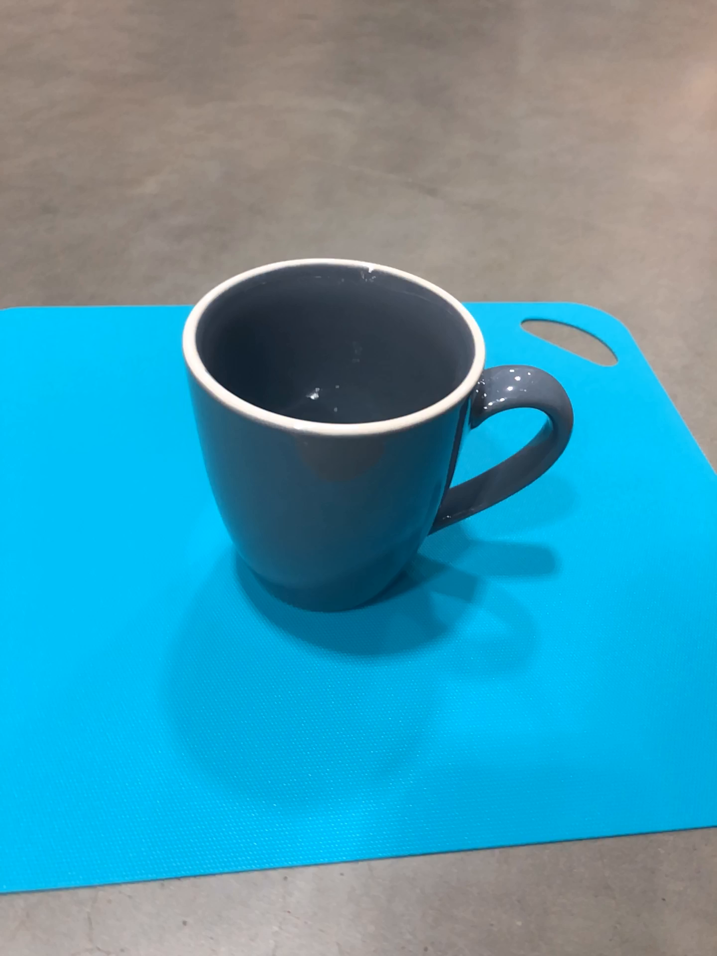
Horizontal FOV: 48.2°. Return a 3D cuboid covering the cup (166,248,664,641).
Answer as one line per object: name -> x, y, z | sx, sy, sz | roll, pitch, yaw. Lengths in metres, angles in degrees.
cup -> 0.008, -0.015, 0.263 | 0.130, 0.080, 0.090 | -5, 45, -9
